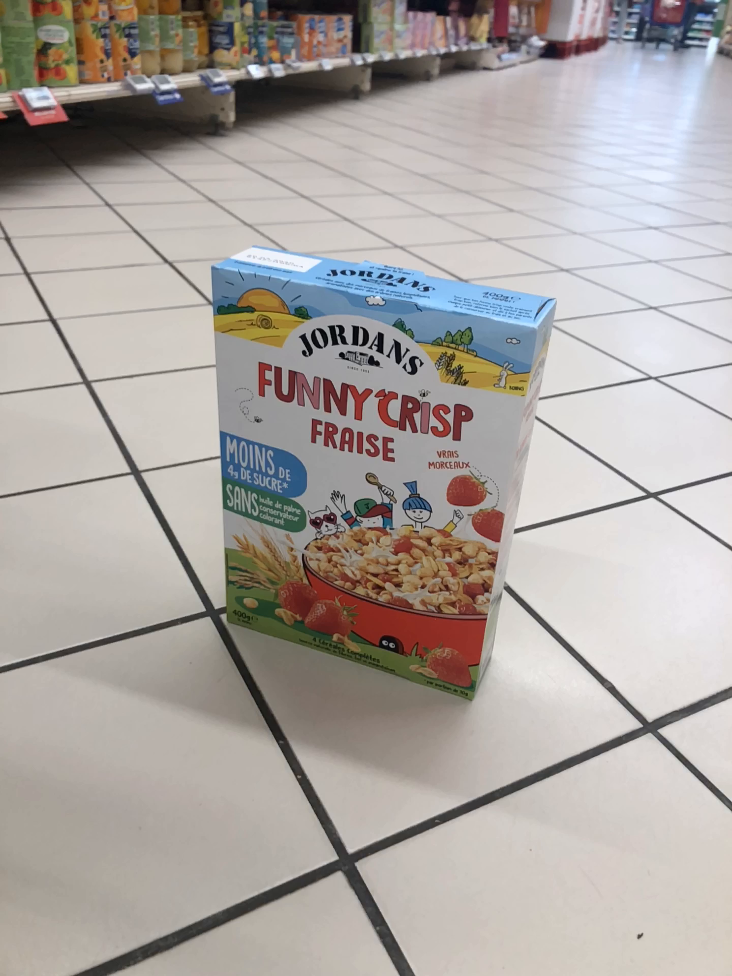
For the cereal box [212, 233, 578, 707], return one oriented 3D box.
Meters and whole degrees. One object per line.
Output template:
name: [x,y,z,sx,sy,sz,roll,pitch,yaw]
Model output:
cereal box: [0.005,-0.006,0.446,0.170,0.229,0.050,15,32,17]
